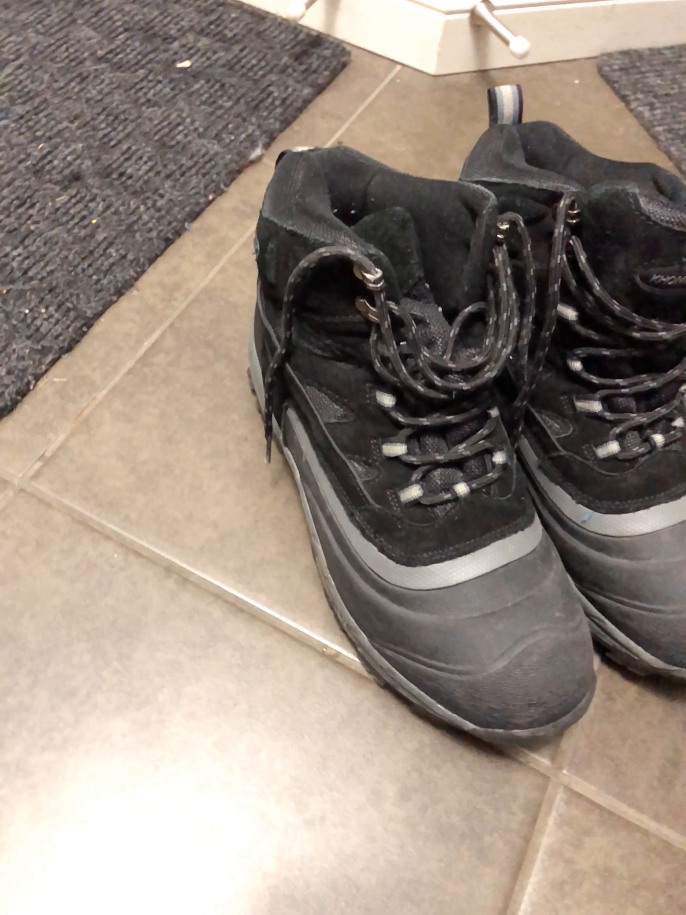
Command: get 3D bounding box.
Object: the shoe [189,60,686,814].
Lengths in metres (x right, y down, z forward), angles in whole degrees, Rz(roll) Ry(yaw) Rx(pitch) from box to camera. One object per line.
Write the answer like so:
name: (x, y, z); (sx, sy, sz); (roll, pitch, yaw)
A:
shoe: (0.034, -0.011, 0.377); (0.120, 0.200, 0.290); (-17, 60, -16)

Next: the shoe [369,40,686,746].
shoe: (0.141, -0.035, 0.401); (0.120, 0.200, 0.290); (-18, 61, -17)
